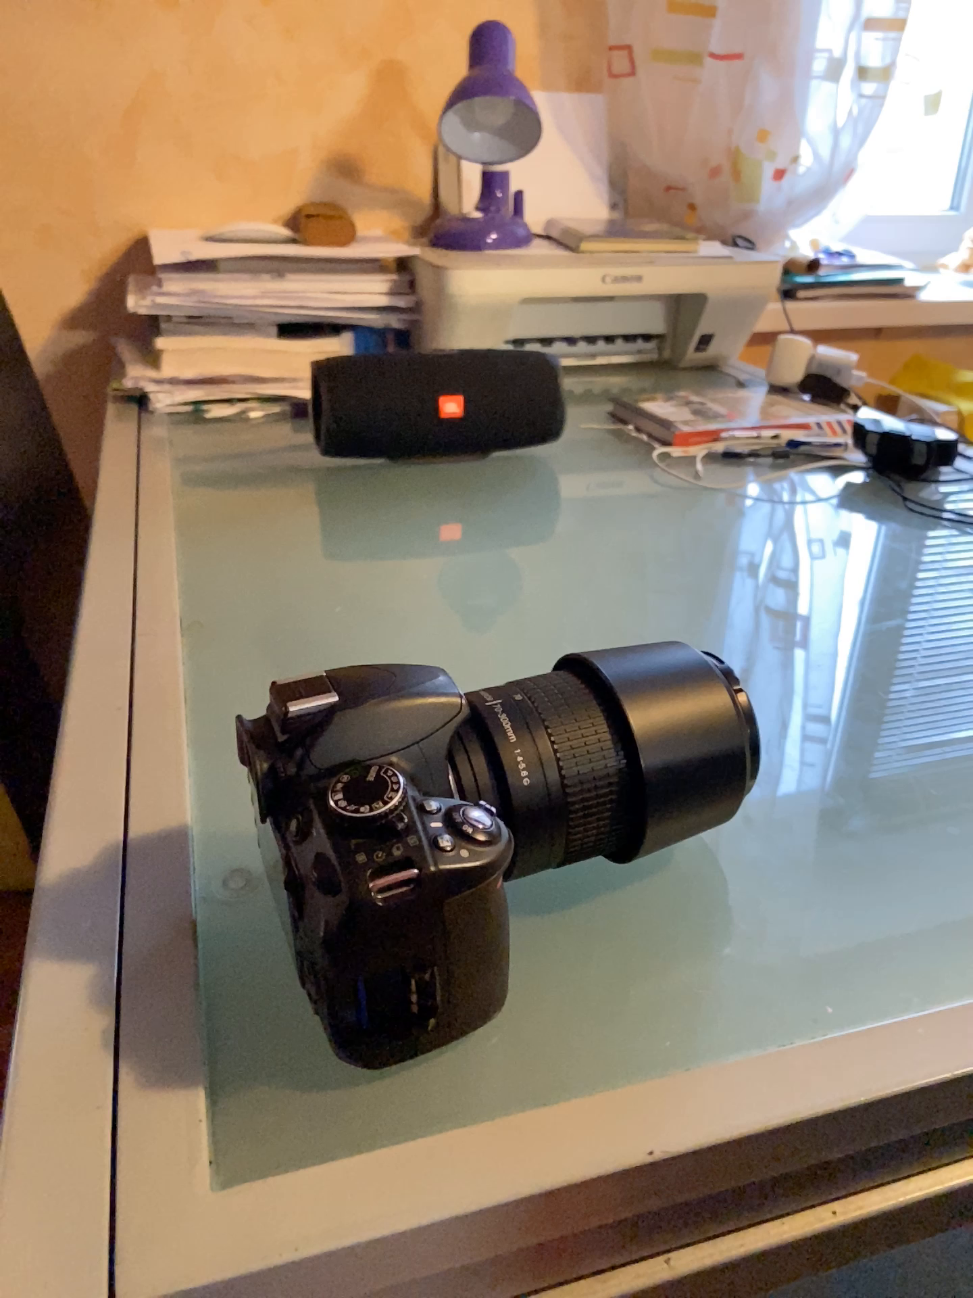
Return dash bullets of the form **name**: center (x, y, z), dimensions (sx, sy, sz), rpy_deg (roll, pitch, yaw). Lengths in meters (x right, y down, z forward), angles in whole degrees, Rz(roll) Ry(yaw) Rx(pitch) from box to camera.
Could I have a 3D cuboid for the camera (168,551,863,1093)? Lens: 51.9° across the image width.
- **camera**: center (0.002, 0.046, 0.374), dimensions (0.209, 0.099, 0.135), rpy_deg (-9, 29, -21)
